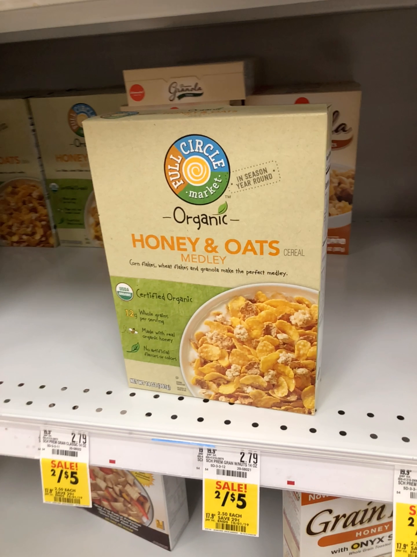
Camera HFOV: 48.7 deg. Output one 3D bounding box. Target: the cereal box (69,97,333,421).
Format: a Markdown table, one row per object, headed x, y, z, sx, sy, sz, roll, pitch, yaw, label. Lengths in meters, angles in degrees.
| x | y | z | sx | sy | sz | roll | pitch | yaw | label |
| --- | --- | --- | --- | --- | --- | --- | --- | --- | --- |
| 0.002 | -0.012 | 0.402 | 0.190 | 0.259 | 0.060 | 4 | 26 | 17 | cereal box |
